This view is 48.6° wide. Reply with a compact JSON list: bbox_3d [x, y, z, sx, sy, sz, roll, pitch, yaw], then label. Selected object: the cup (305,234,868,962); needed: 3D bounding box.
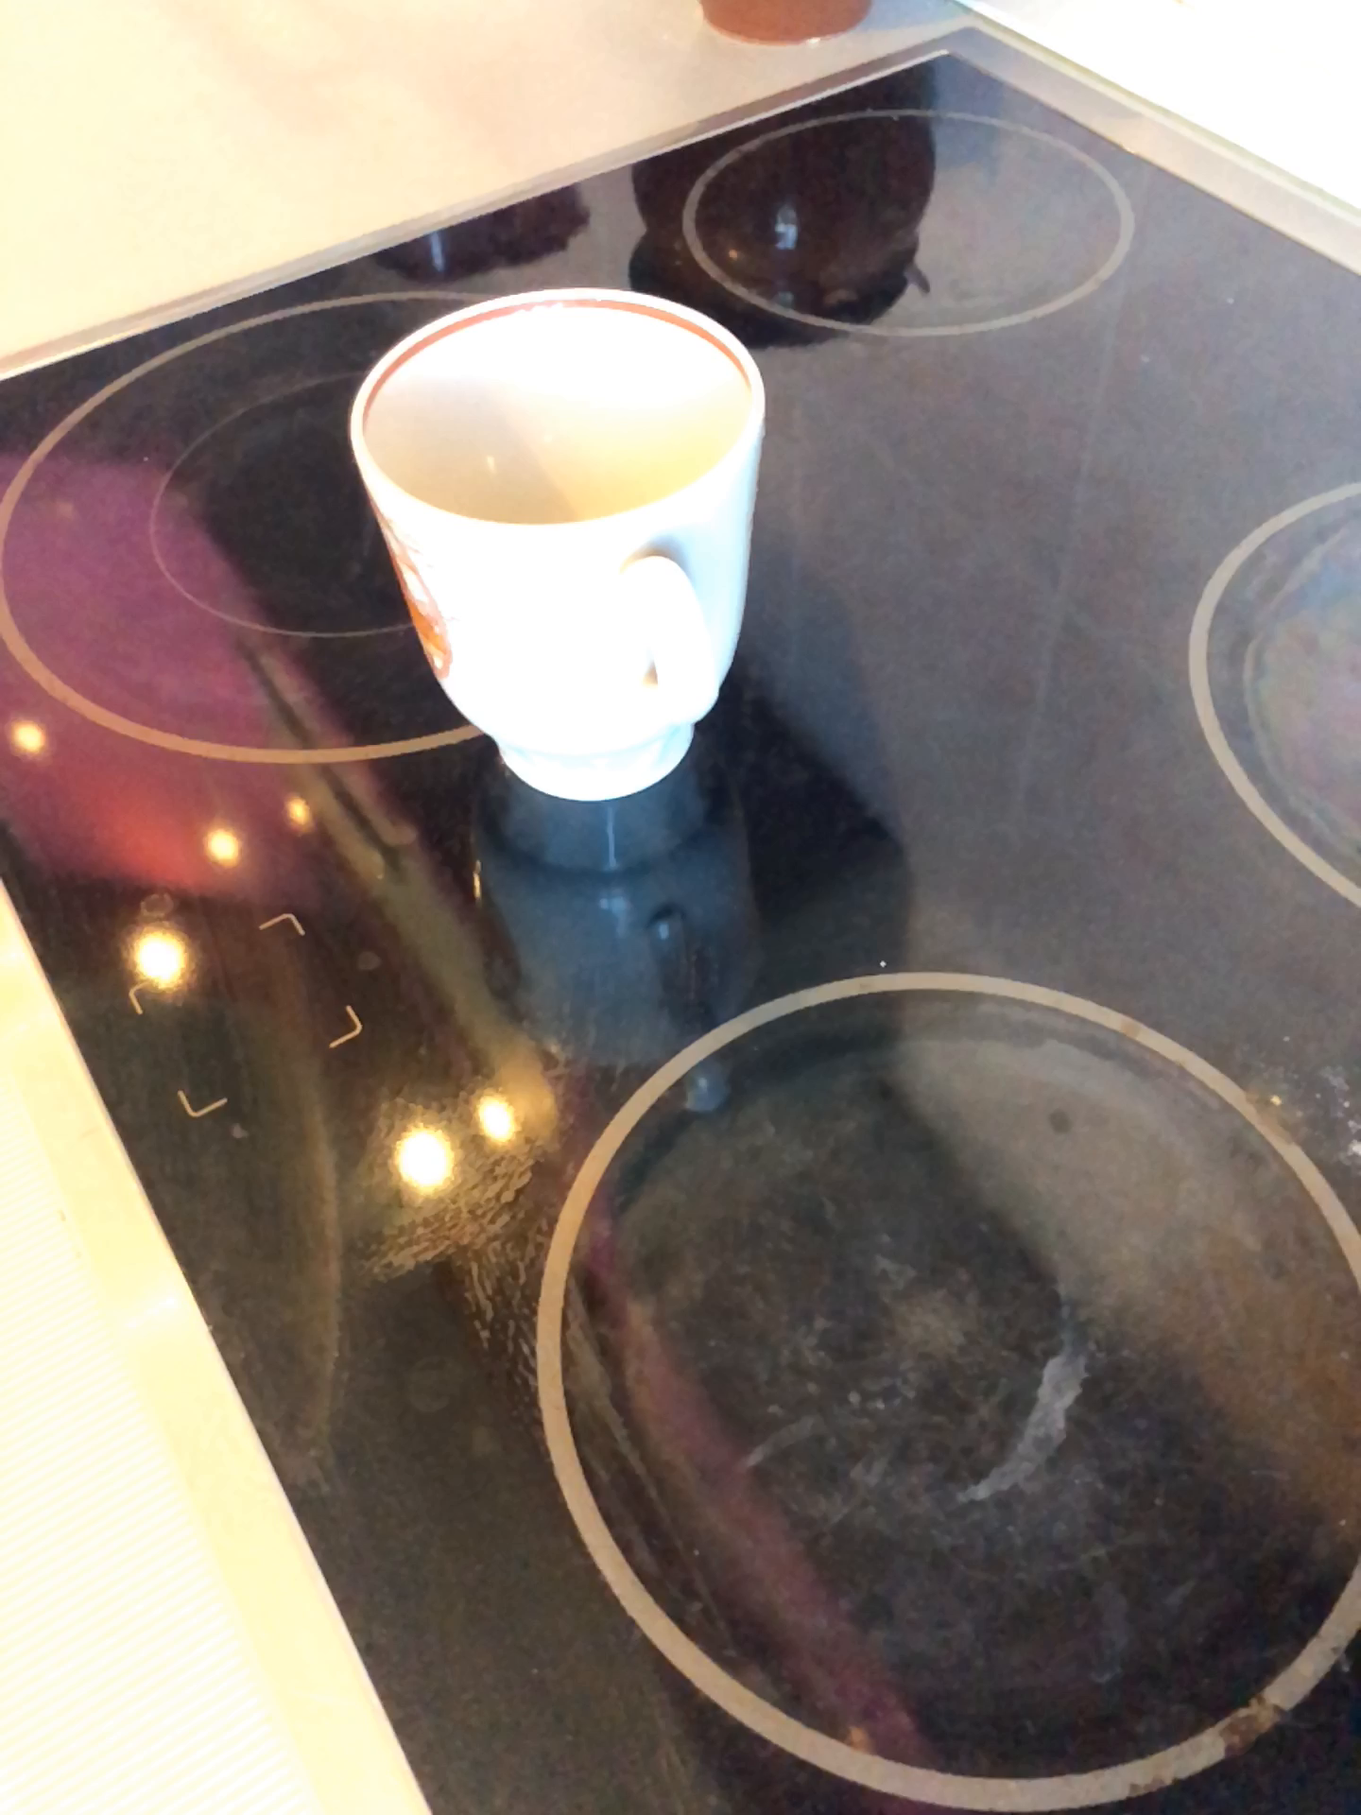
[{"bbox_3d":[-0.024,-0.070,0.335,0.090,0.090,0.120,-11,53,-8],"label":"cup"}]
